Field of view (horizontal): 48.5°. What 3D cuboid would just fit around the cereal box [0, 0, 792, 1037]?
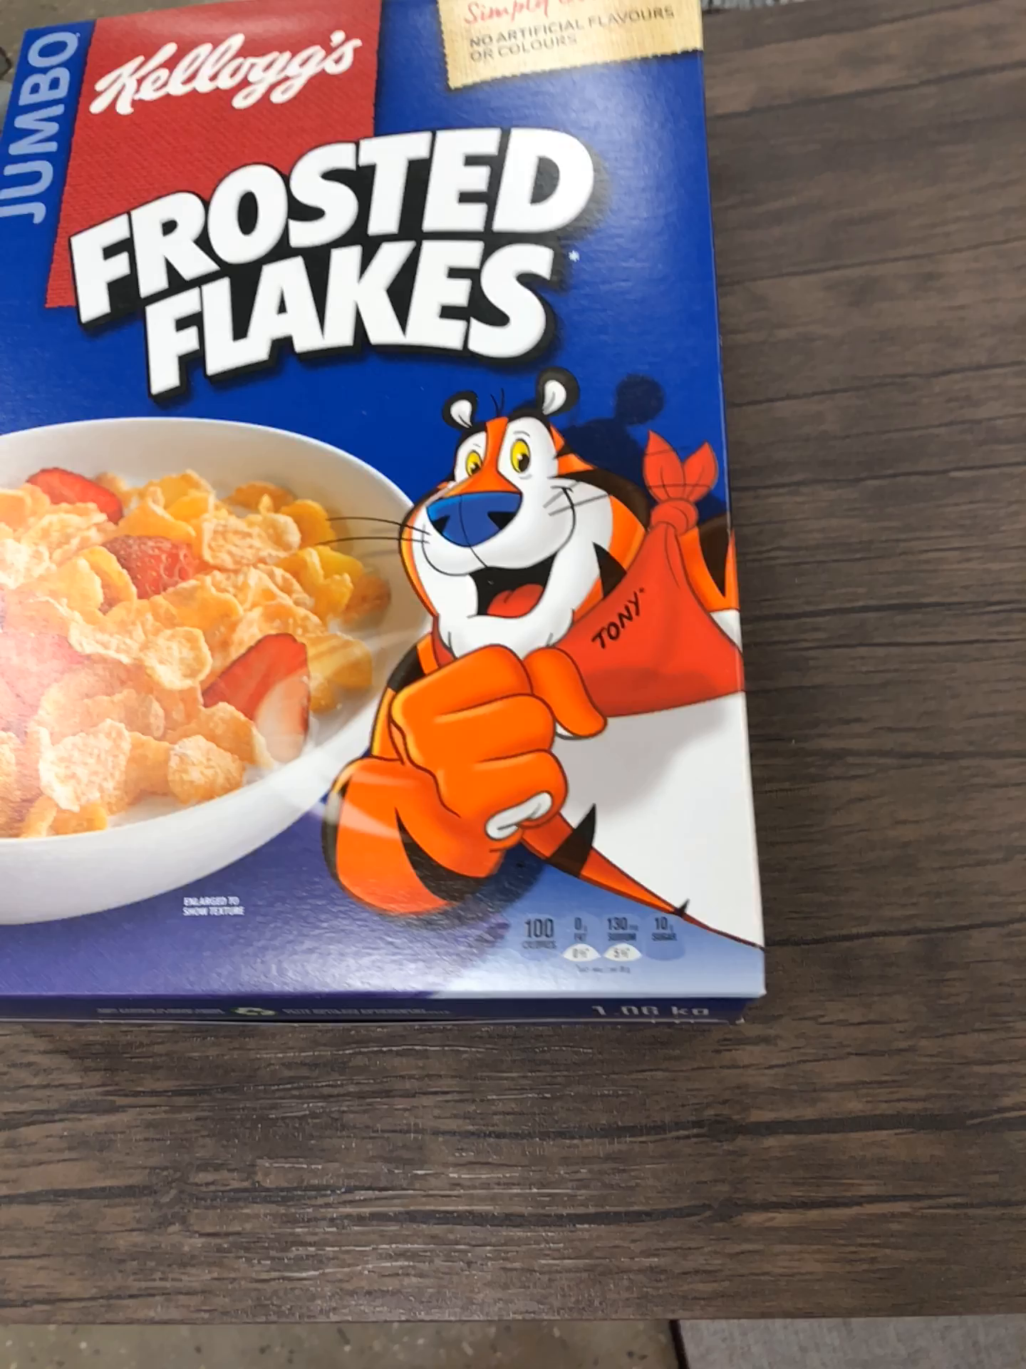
[{"bbox_3d":[-0.051,-0.082,0.378,0.250,0.100,0.370,-2,68,9],"label":"cereal box"}]
